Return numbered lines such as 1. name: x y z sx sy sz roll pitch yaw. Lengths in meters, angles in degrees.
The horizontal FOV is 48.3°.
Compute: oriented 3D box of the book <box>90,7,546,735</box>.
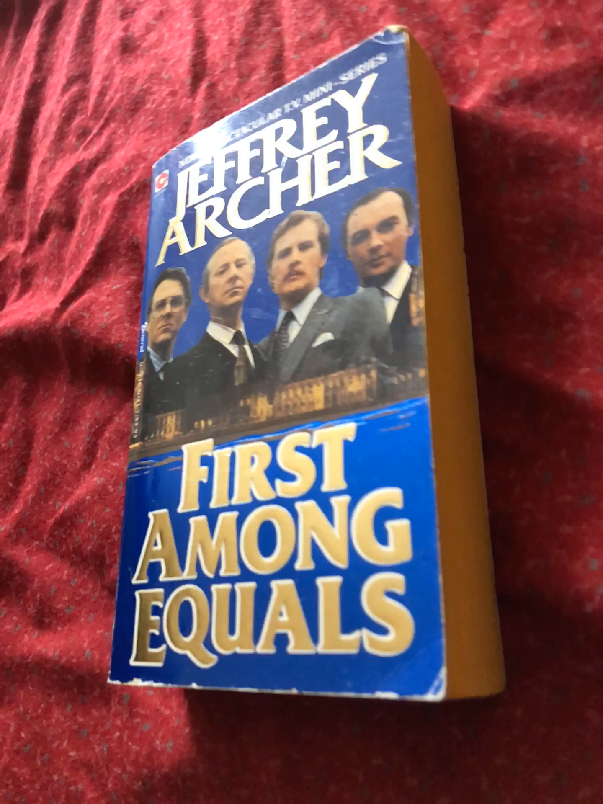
1. book: -0.001 -0.007 0.196 0.110 0.038 0.177 -13 67 33
